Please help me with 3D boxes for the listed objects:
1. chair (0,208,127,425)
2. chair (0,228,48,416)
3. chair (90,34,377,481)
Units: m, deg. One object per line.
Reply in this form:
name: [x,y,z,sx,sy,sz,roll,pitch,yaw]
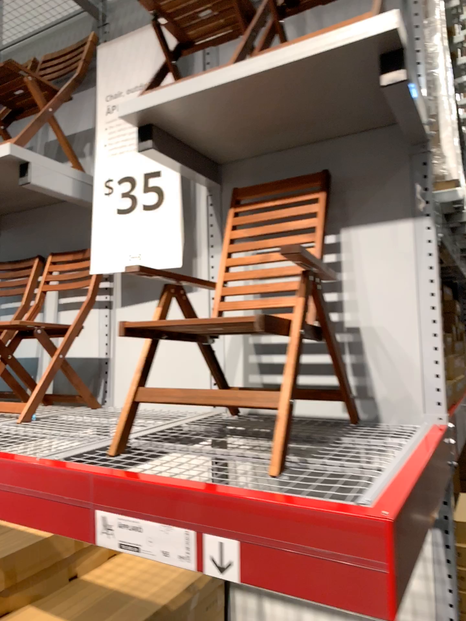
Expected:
chair: [-0.975,0.048,2.369,0.615,0.885,0.630,-4,-5,28]
chair: [-1.504,0.080,2.667,0.615,0.885,0.630,-4,-5,30]
chair: [0.062,-0.104,1.651,0.615,1.055,0.890,-4,-5,28]
